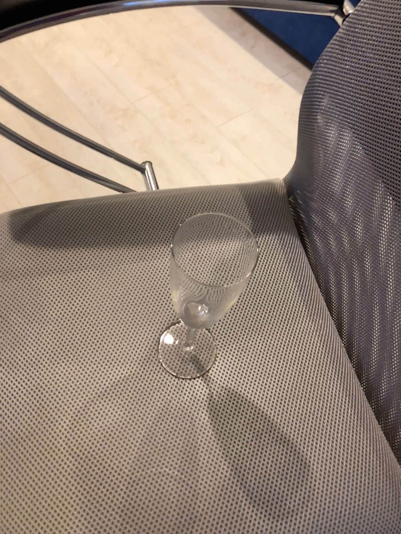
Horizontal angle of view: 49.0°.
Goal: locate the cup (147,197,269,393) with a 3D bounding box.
[{"bbox_3d":[-0.006,0.042,0.391,0.074,0.229,0.075,2,59,-4],"label":"cup"}]
